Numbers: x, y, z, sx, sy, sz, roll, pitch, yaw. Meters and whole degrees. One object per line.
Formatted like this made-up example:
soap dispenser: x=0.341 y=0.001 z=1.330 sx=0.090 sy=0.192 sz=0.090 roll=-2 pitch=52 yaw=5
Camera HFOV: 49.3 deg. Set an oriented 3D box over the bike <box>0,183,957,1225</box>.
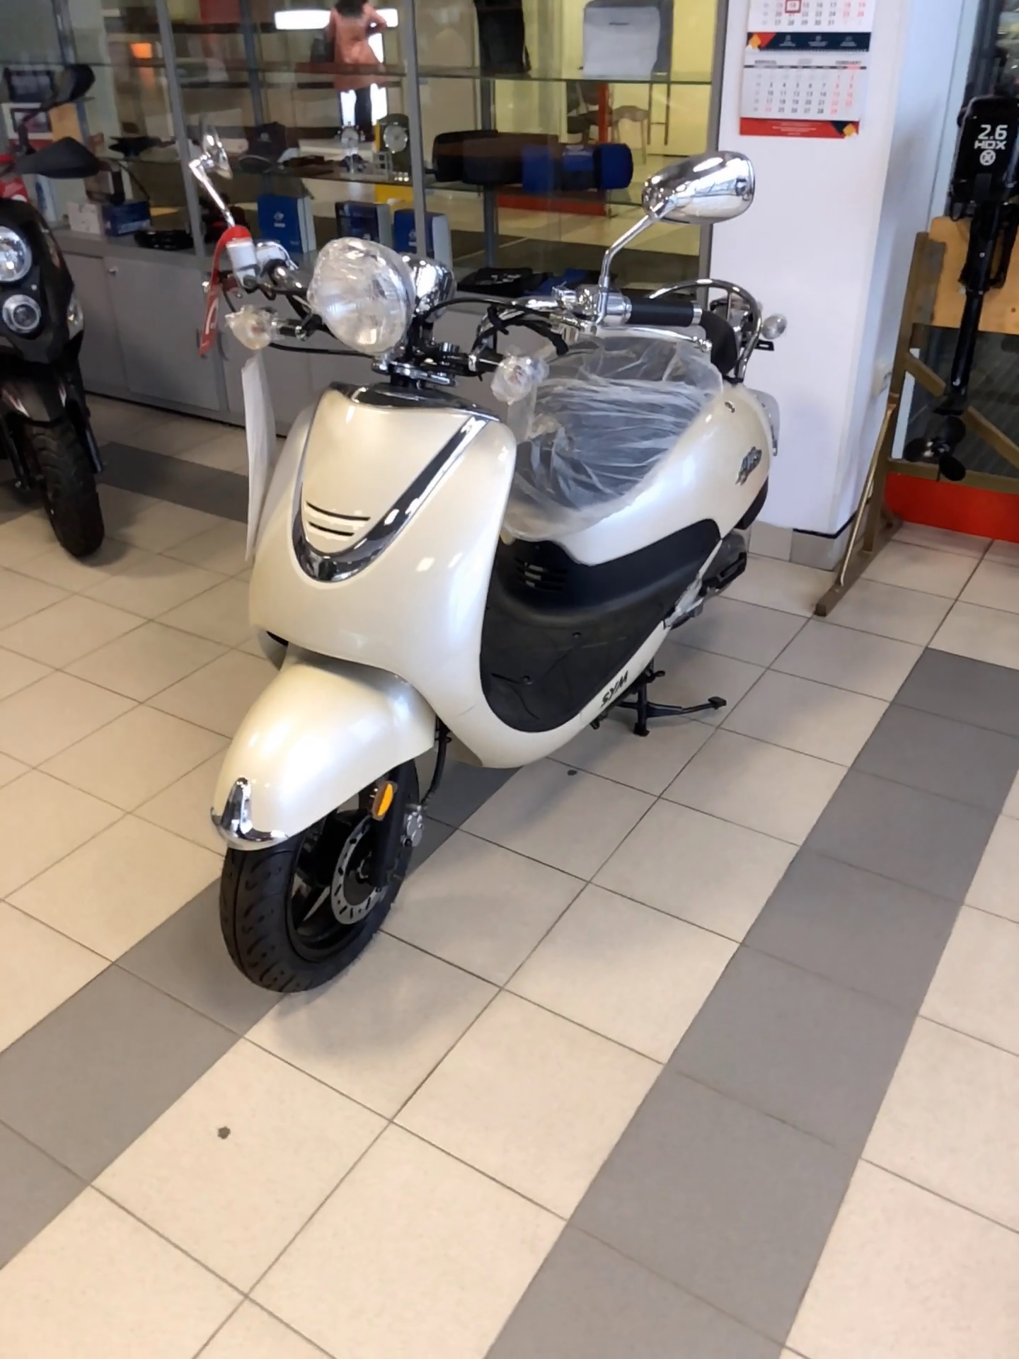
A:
bike: x=0.102 y=-0.210 z=2.052 sx=0.806 sy=0.963 sz=1.688 roll=18 pitch=38 yaw=29
